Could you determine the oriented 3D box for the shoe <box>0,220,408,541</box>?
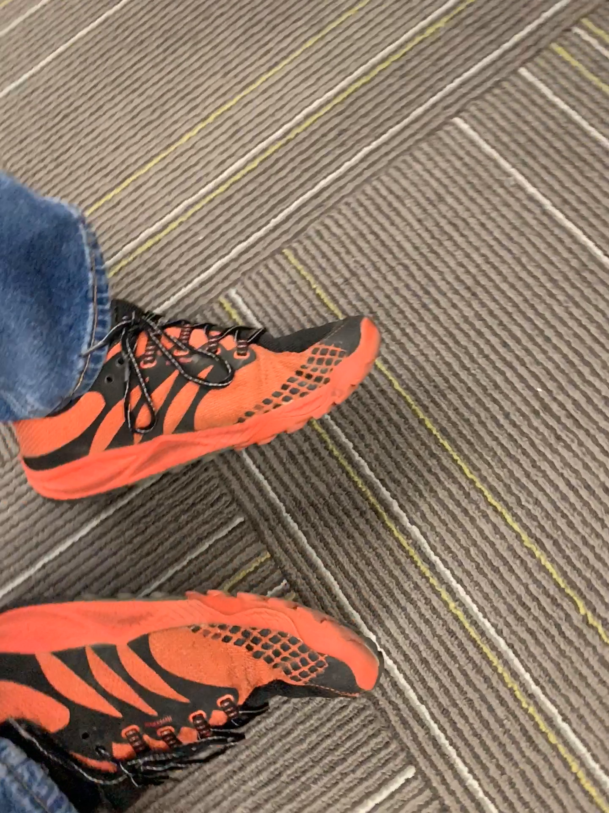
[{"bbox_3d":[-0.097,-0.024,0.467,0.308,0.128,0.108,-18,115,7],"label":"shoe"}]

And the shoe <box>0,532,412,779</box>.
[{"bbox_3d":[-0.099,0.180,0.425,0.318,0.138,0.108,-9,57,9],"label":"shoe"}]
